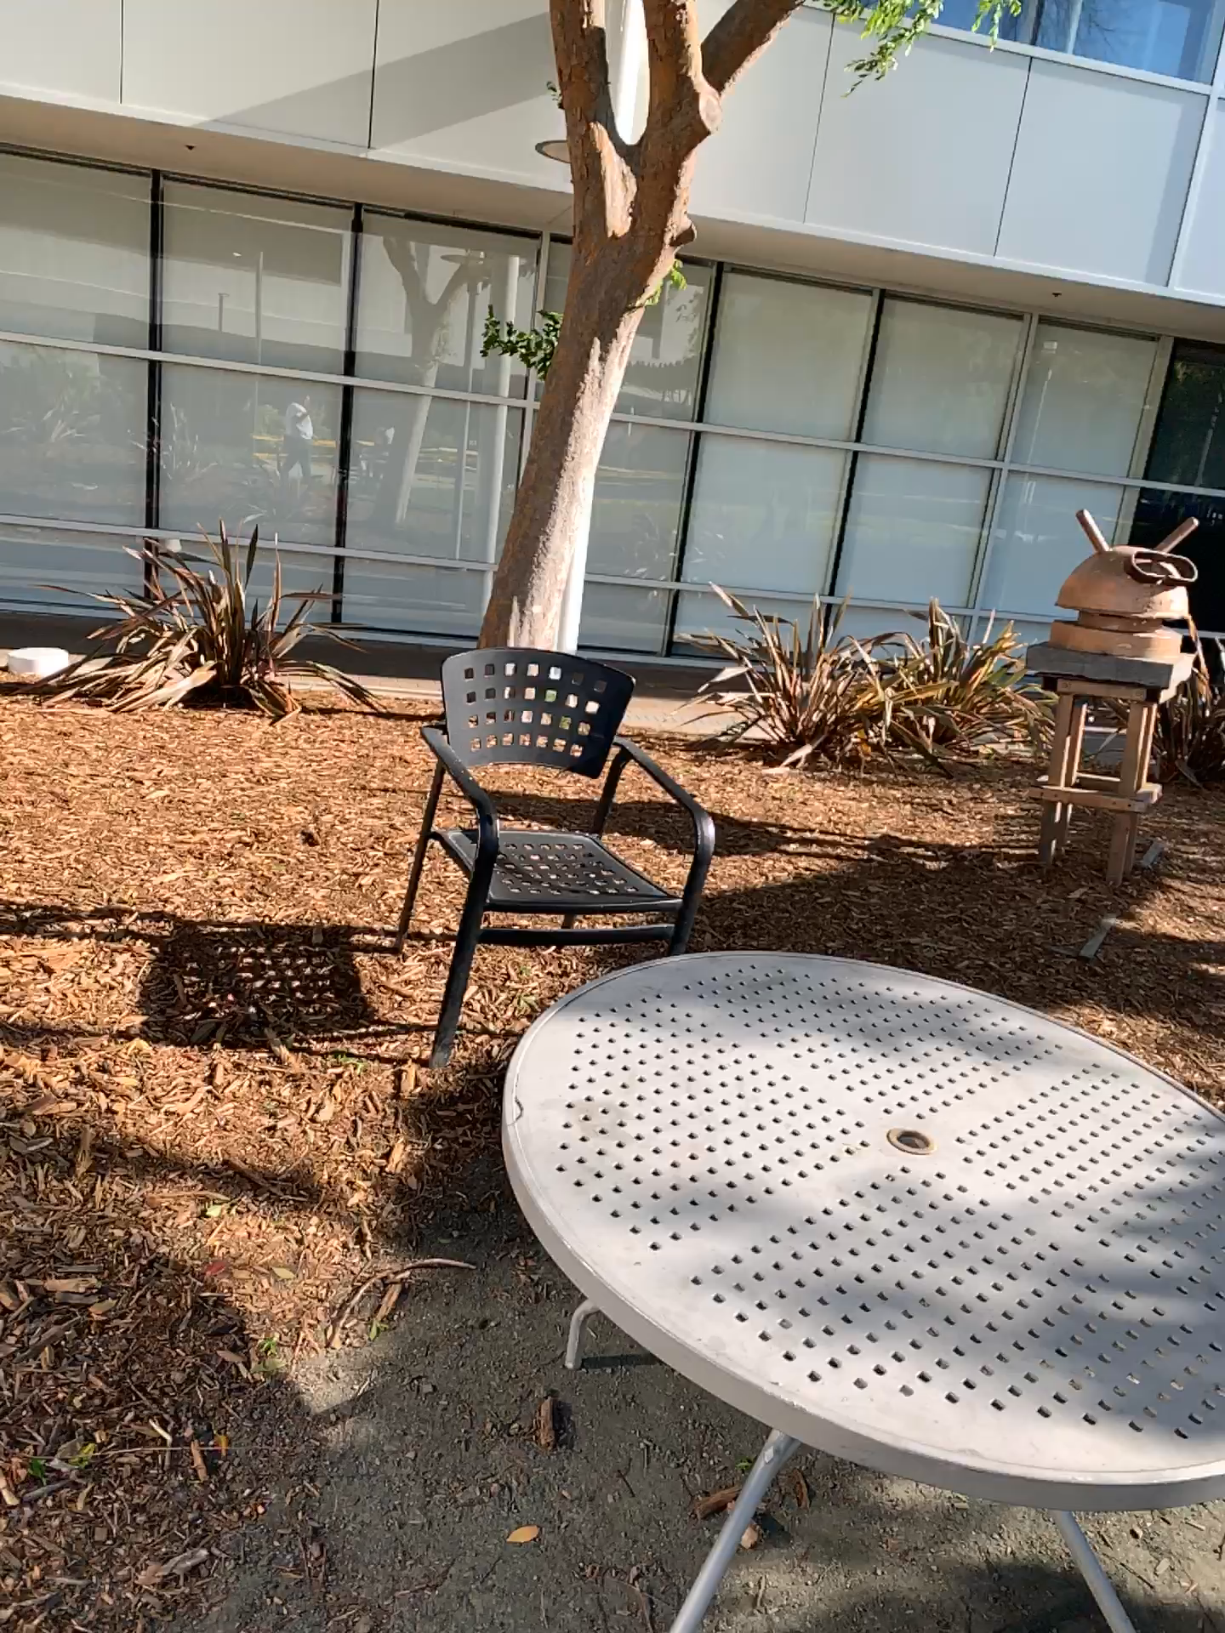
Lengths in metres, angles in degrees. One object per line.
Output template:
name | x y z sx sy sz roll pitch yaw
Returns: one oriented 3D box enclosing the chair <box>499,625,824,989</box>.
chair | 0.090 -0.041 2.989 0.520 0.717 0.502 0 18 -25
